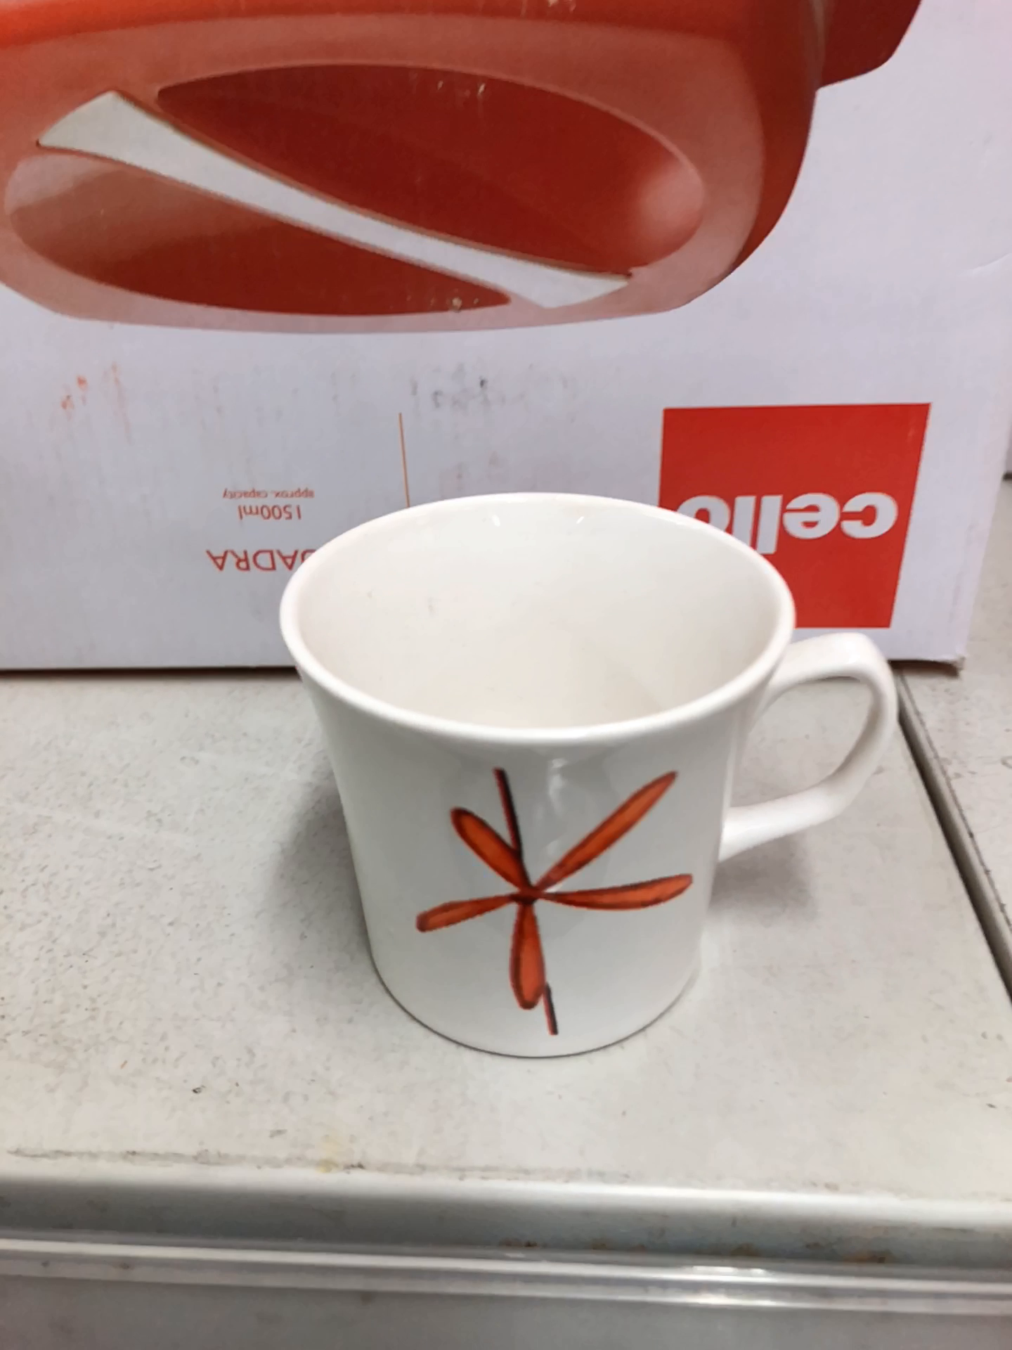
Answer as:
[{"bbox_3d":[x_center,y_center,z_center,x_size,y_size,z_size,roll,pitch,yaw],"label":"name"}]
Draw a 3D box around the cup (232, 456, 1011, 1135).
[{"bbox_3d":[0.016,0.015,0.180,0.100,0.070,0.070,-4,33,-5],"label":"cup"}]
